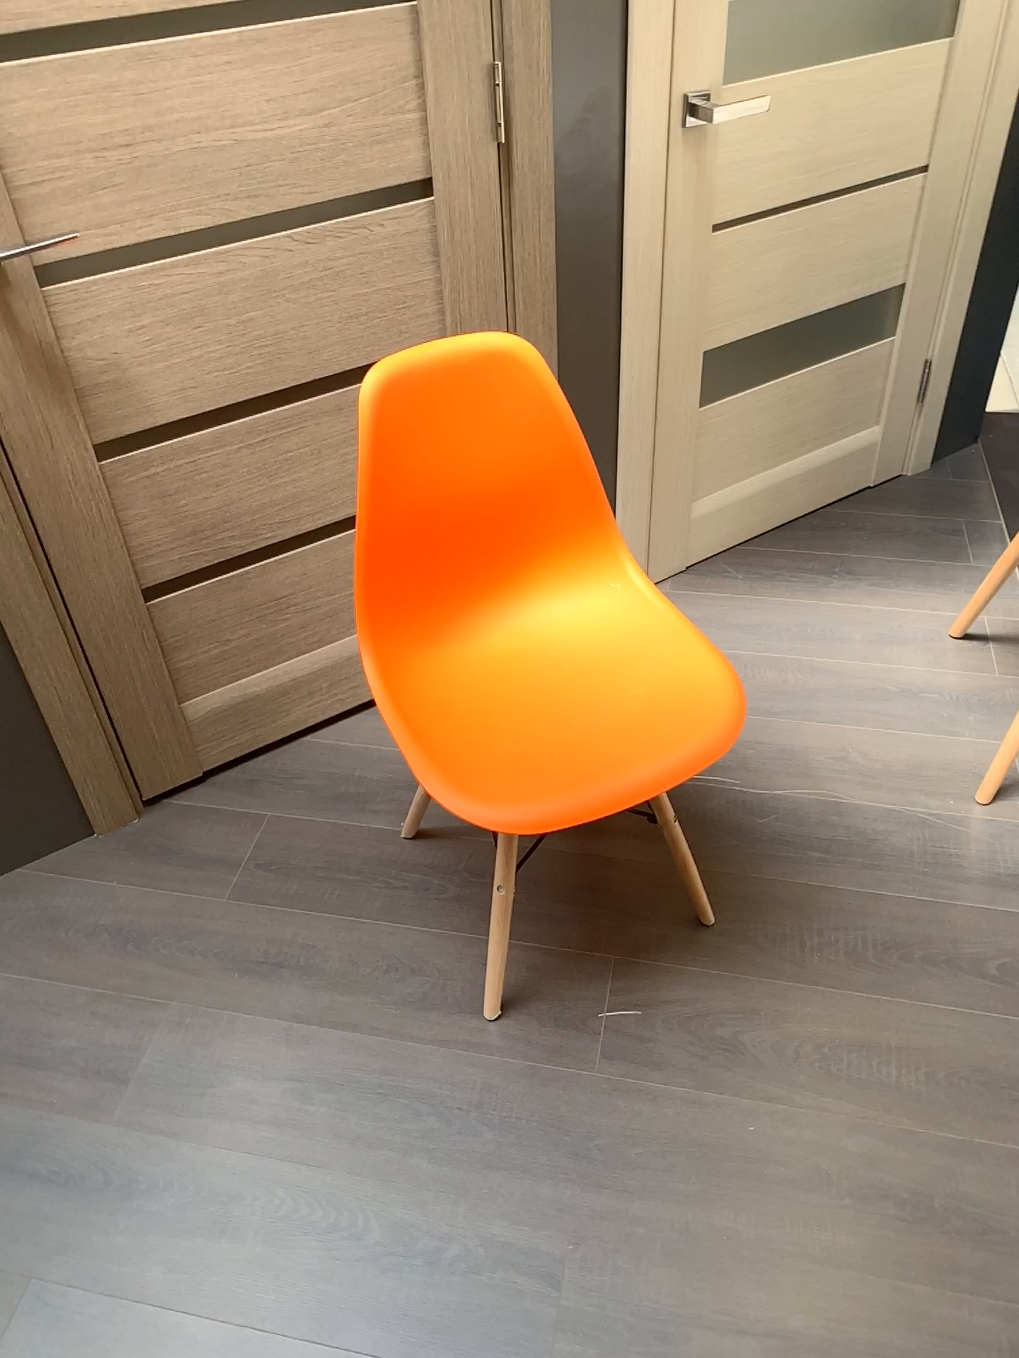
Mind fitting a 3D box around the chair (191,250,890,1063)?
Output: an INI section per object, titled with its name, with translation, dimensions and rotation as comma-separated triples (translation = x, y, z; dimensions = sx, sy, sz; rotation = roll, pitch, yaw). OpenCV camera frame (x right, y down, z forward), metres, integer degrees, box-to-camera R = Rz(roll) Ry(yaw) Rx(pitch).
[chair]
translation = 0.018, -0.045, 1.289
dimensions = 0.530, 0.716, 0.522
rotation = -21, 42, -19
